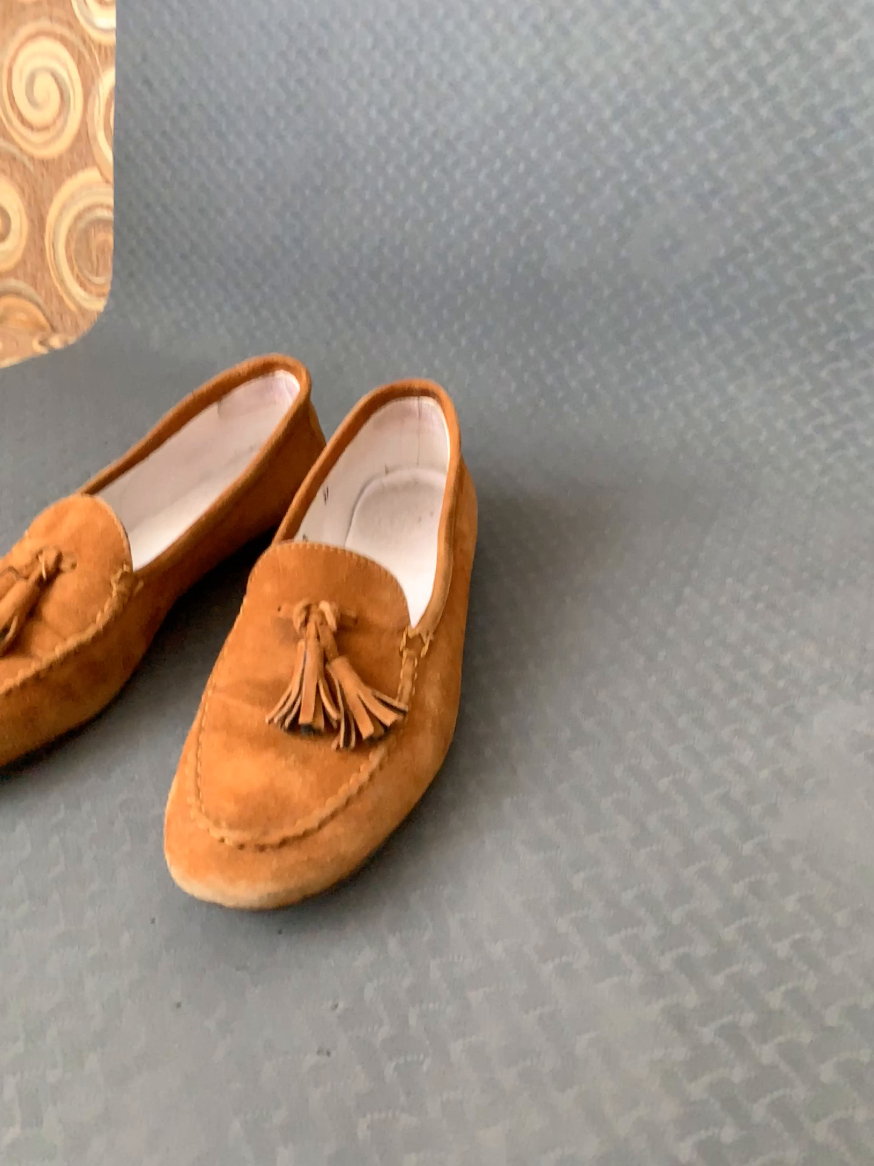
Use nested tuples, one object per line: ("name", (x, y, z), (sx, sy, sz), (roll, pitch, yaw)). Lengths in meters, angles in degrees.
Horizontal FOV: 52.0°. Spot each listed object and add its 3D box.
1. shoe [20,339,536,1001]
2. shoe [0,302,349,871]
("shoe", (-0.030, 0.007, 0.335), (0.090, 0.090, 0.241), (8, 42, 13))
("shoe", (-0.144, -0.019, 0.359), (0.090, 0.090, 0.231), (21, 46, 25))
